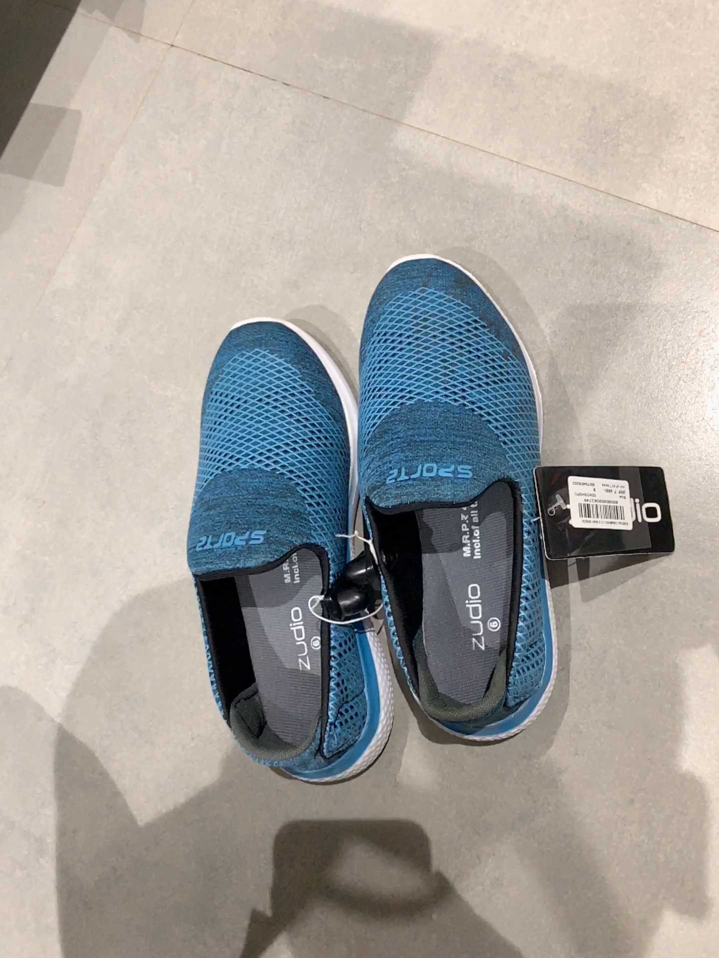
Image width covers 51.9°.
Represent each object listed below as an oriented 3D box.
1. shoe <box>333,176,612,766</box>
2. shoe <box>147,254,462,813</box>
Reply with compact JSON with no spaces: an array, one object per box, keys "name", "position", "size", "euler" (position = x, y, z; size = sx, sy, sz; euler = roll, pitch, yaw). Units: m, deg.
[{"name":"shoe","position":[0.056,-0.001,0.361],"size":[0.090,0.080,0.250],"euler":[-9,80,18]},{"name":"shoe","position":[-0.031,0.029,0.404],"size":[0.110,0.080,0.260],"euler":[-13,78,17]}]
